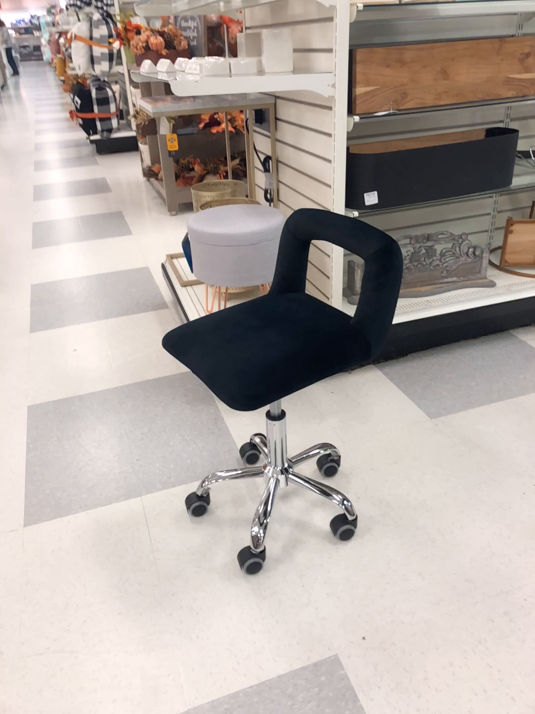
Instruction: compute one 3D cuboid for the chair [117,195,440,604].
[{"bbox_3d":[0.024,0.058,1.363,0.485,0.694,0.463,-20,33,-28],"label":"chair"}]
